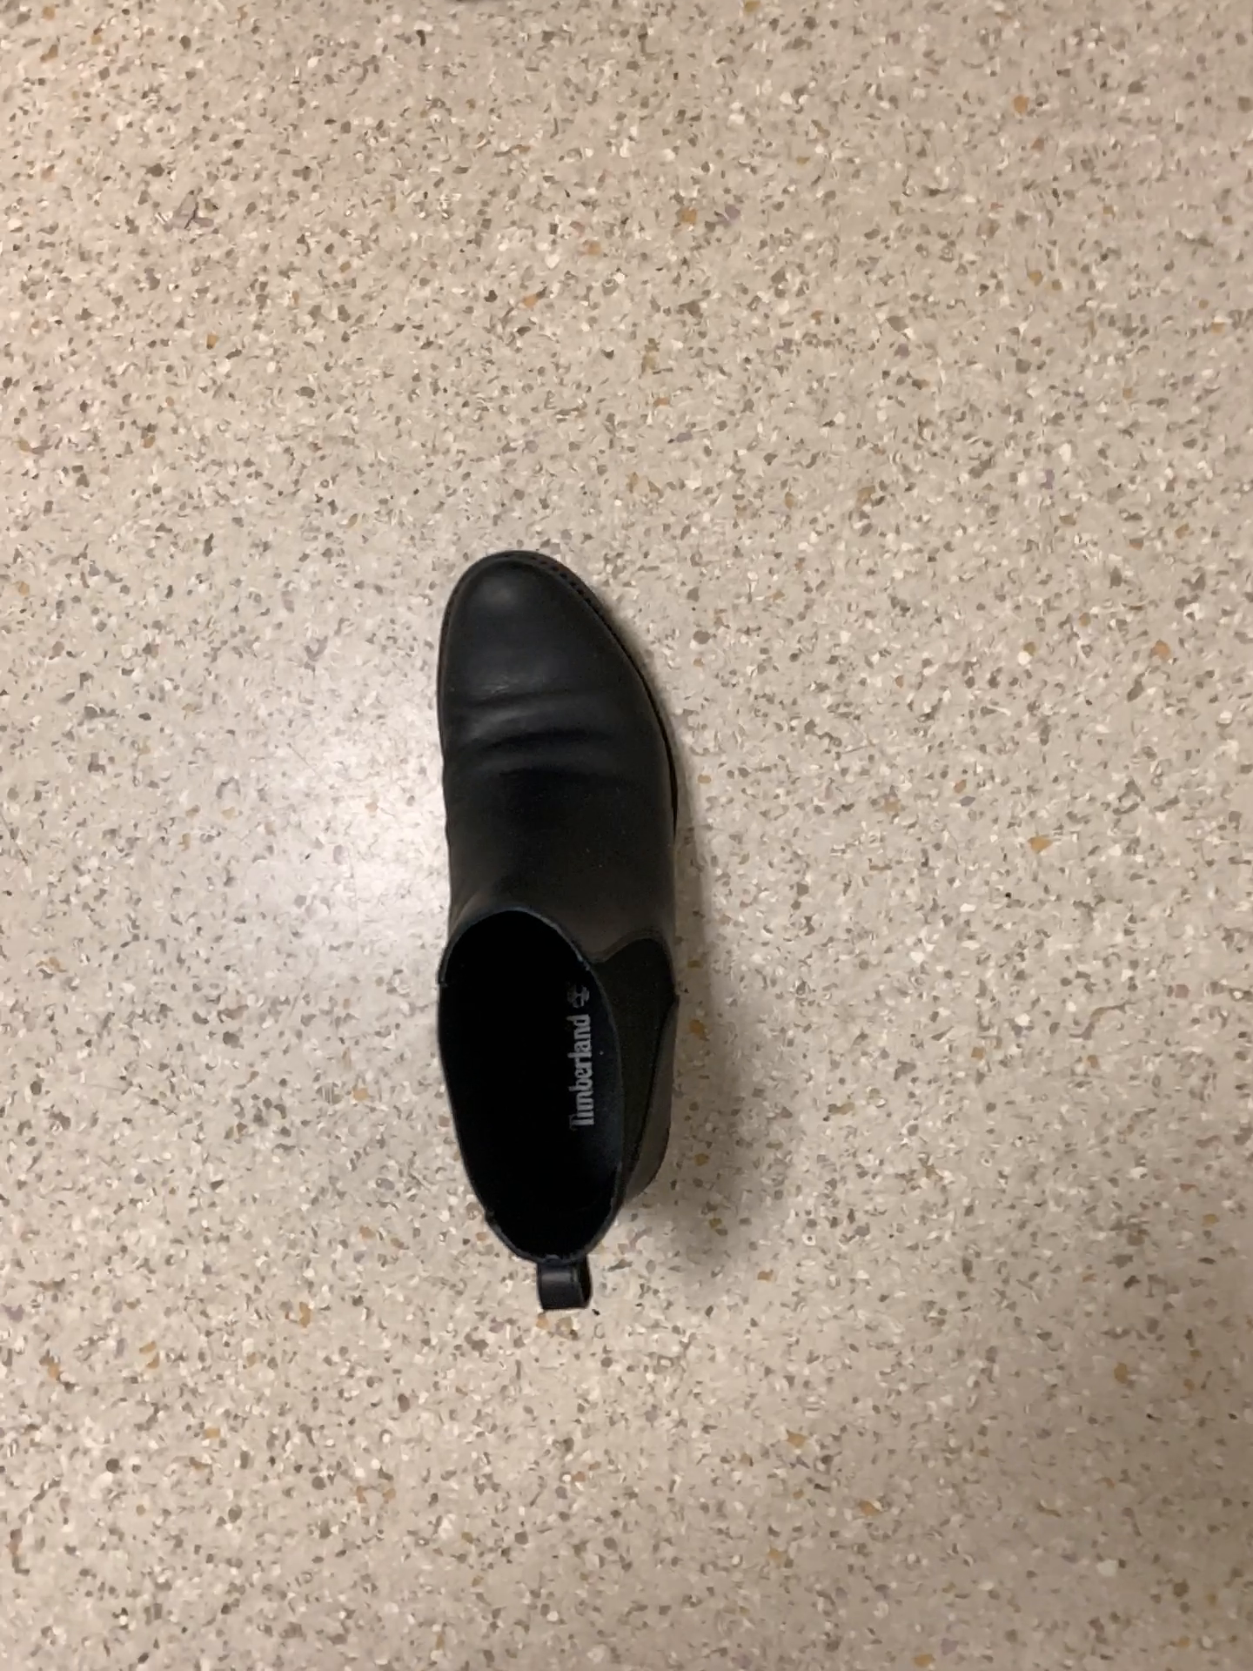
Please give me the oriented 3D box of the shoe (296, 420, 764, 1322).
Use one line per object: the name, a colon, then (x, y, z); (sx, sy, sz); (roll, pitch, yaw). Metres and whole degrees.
shoe: (-0.026, 0.014, 0.474); (0.107, 0.147, 0.270); (-10, 84, 5)
